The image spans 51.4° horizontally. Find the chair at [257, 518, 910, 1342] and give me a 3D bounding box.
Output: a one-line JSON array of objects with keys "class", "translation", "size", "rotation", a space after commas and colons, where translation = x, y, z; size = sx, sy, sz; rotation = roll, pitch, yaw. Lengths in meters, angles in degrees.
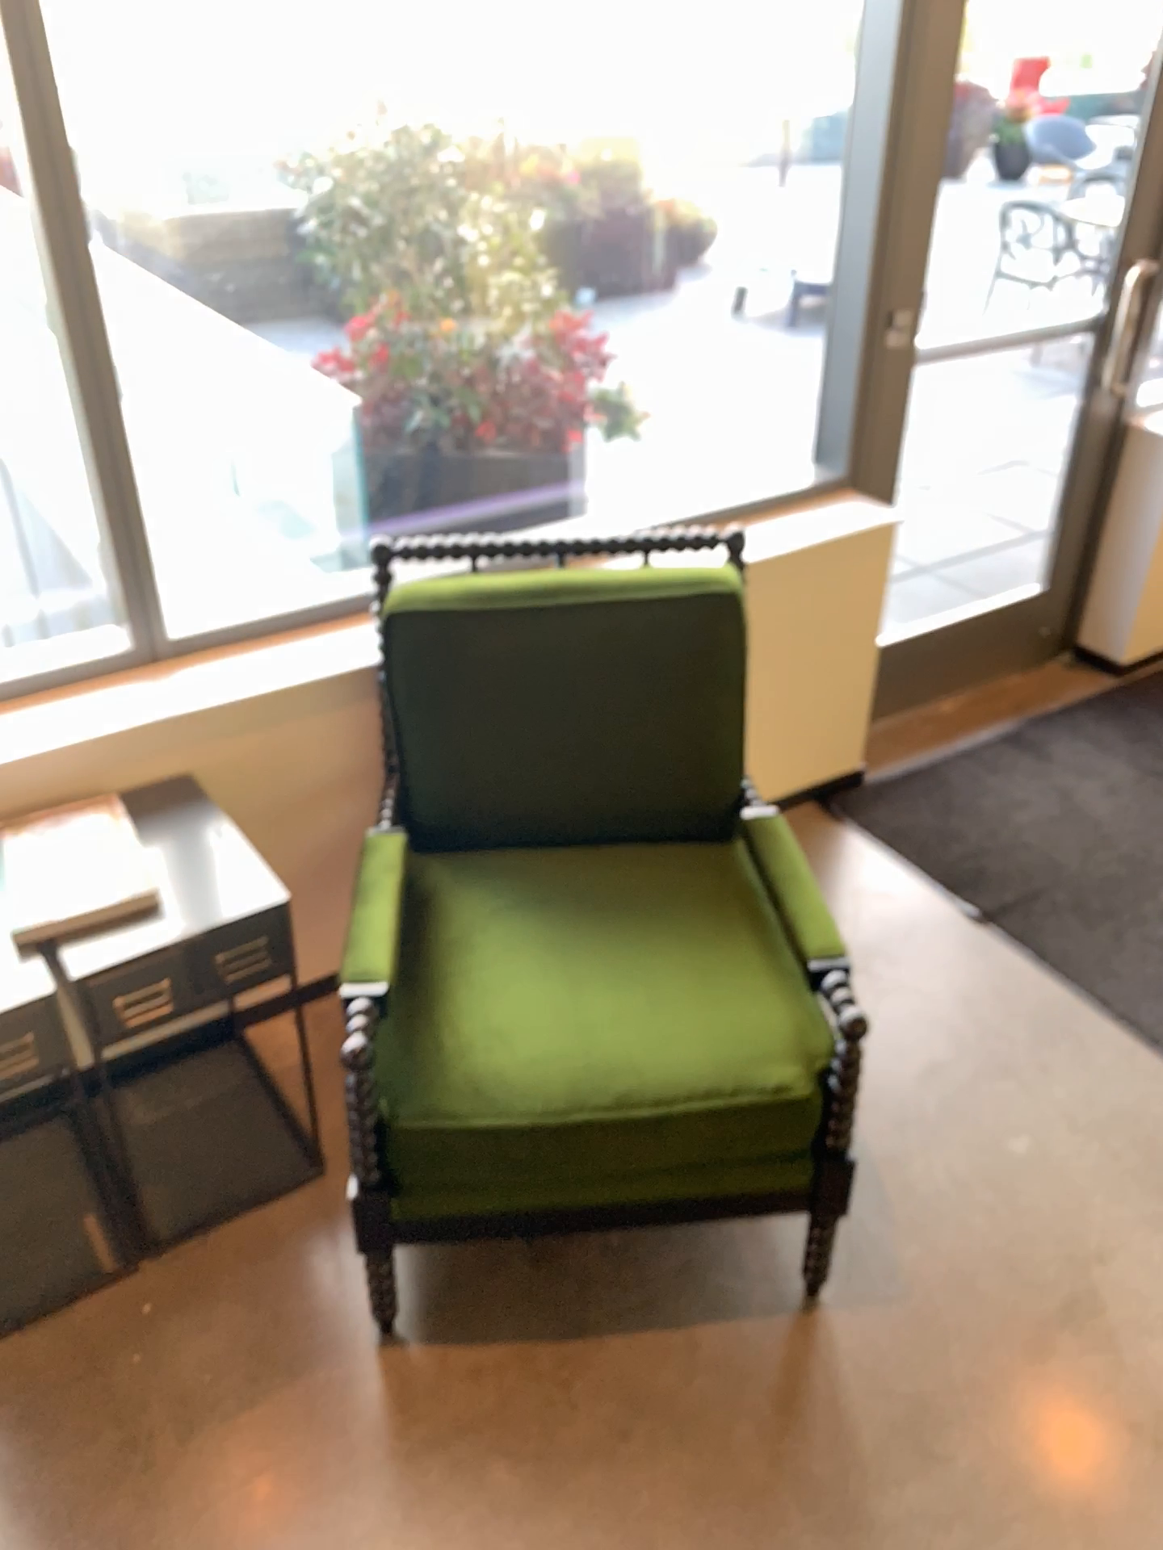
[{"class": "chair", "translation": [-0.028, 0.214, 2.053], "size": [0.760, 0.984, 0.926], "rotation": [-2, 33, -4]}]
